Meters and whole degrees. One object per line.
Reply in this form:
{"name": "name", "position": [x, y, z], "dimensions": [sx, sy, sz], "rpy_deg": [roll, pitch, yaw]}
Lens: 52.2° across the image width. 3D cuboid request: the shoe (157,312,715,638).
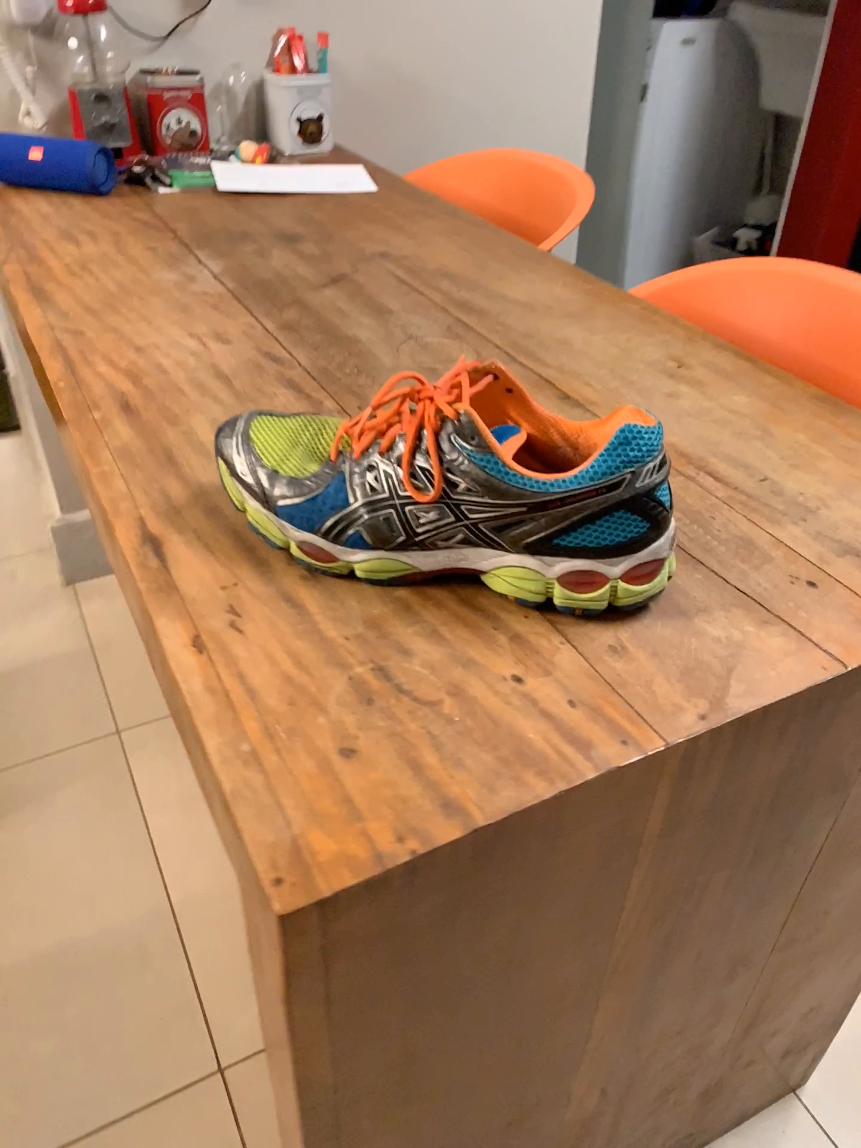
{"name": "shoe", "position": [0.008, -0.070, 0.541], "dimensions": [0.301, 0.109, 0.126], "rpy_deg": [10, 38, 12]}
